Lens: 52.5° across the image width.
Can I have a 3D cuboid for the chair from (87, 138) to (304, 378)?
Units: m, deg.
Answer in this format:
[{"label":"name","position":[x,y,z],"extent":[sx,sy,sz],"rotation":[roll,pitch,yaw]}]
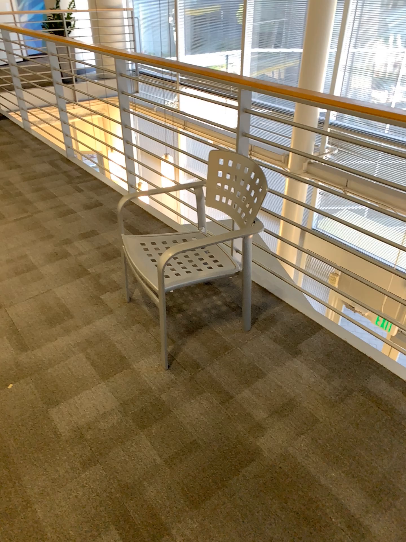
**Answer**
[{"label":"chair","position":[-0.062,-0.109,1.973],"extent":[0.680,0.755,0.684],"rotation":[-18,39,-25]}]
